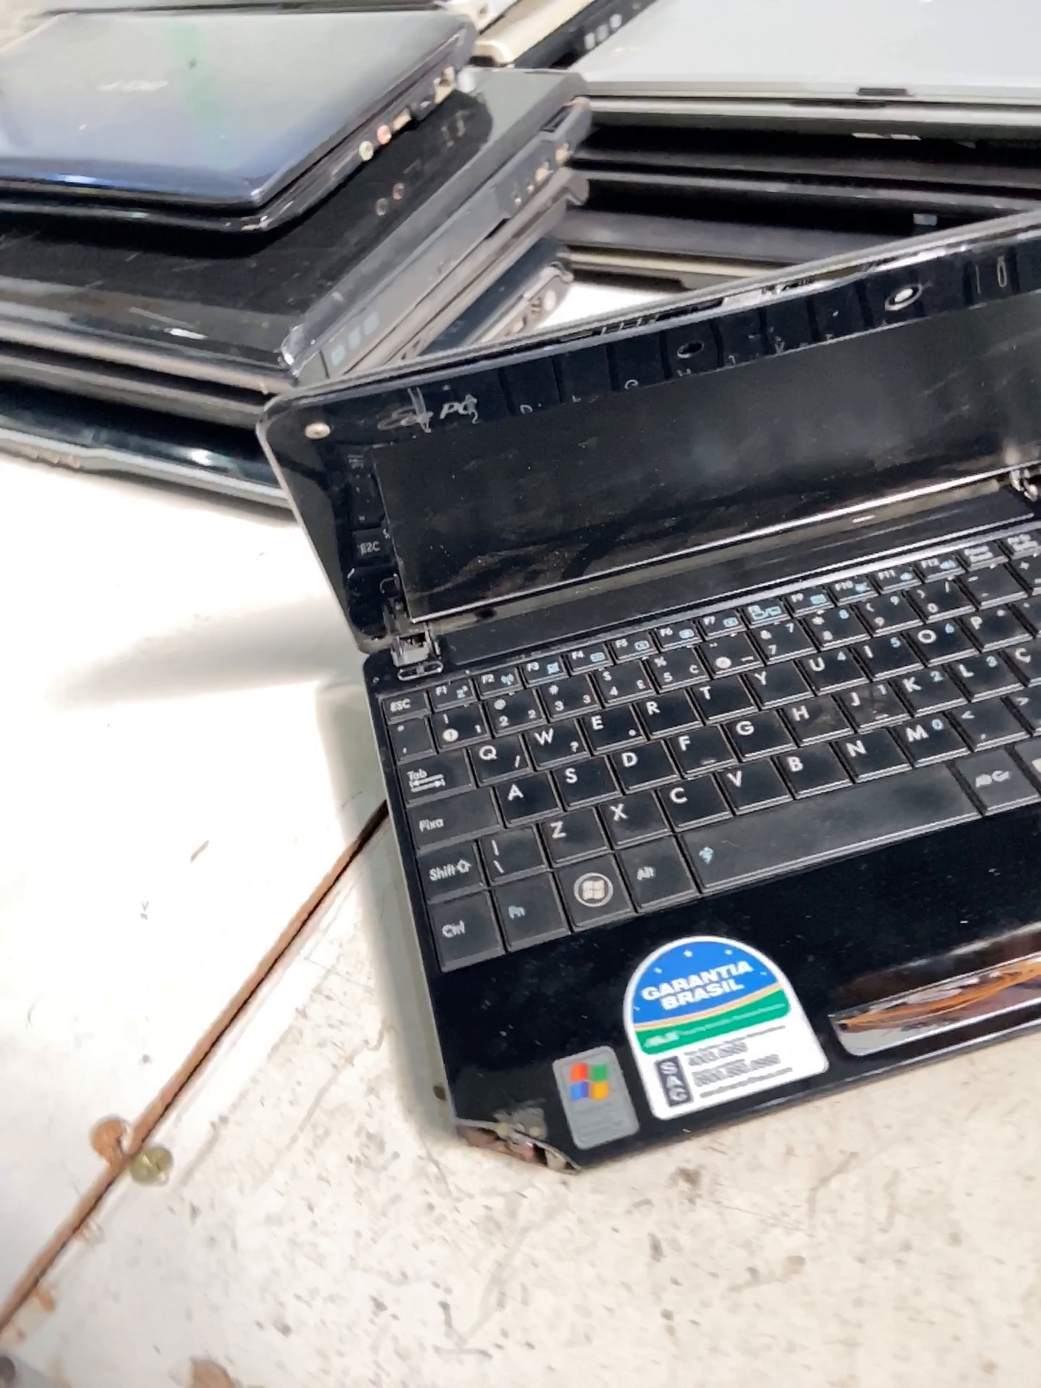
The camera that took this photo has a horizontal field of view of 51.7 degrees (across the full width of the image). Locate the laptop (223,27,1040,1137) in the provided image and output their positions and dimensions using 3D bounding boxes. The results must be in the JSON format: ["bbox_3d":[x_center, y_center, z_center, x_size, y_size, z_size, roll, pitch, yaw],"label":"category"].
[{"bbox_3d":[0.083,-0.039,0.262,0.262,0.137,0.168,-14,45,-5],"label":"laptop"}]
